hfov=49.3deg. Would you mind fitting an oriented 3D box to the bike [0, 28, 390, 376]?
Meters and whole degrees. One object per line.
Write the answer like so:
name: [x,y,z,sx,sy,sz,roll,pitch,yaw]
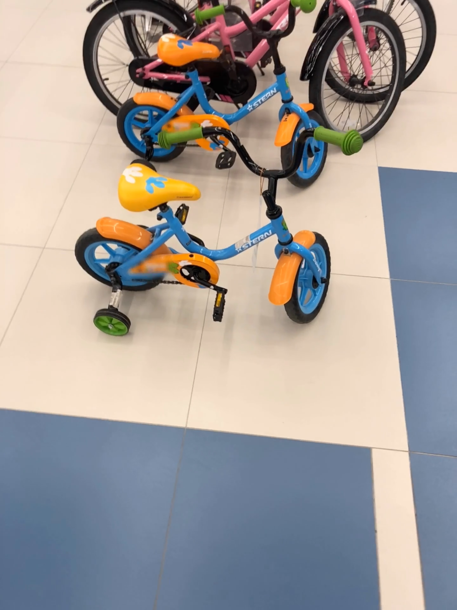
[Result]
bike: [-0.076,-0.253,1.339,0.750,0.682,0.567,-2,52,-3]
